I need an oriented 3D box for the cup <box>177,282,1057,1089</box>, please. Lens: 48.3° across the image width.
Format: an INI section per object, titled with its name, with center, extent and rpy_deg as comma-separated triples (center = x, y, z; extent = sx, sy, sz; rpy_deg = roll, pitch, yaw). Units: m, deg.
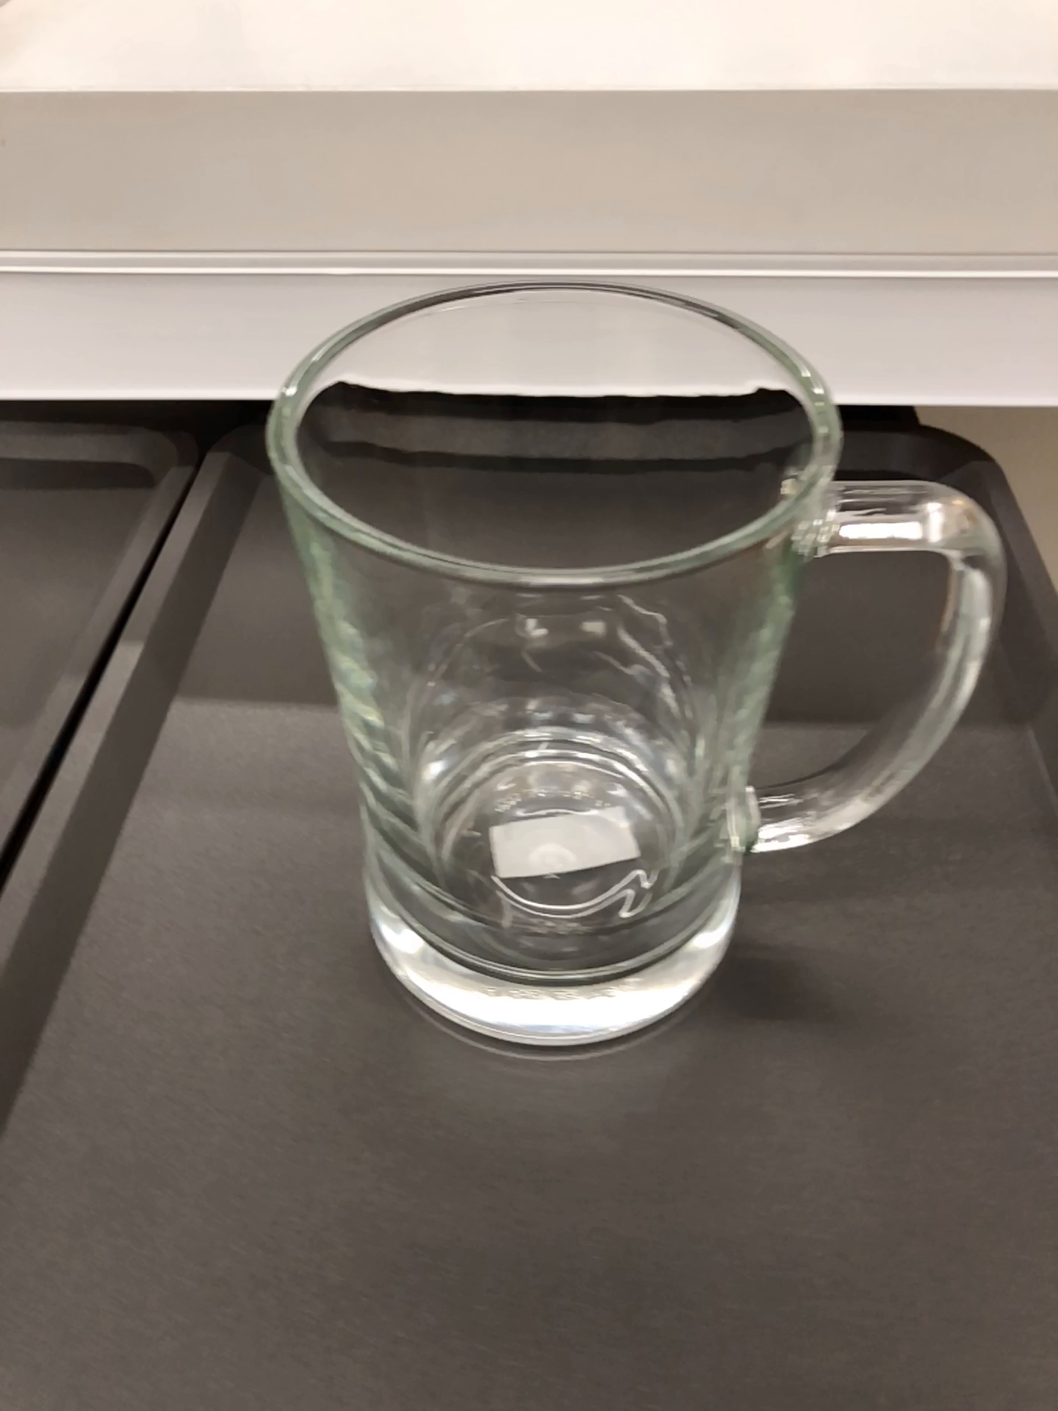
[cup]
center = 0.026, -0.004, 0.259
extent = 0.160, 0.130, 0.110
rpy_deg = -3, 43, -2
